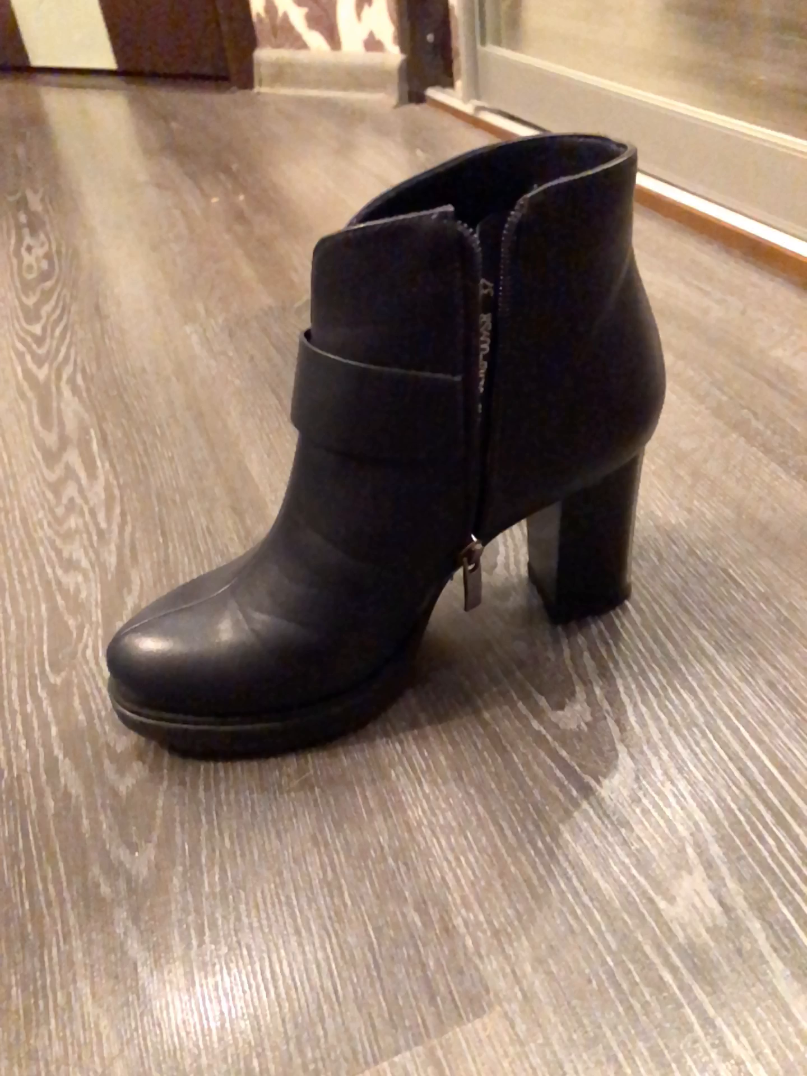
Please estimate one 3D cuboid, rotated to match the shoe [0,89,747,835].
[{"bbox_3d":[-0.017,-0.030,0.324,0.240,0.189,0.091,-18,39,-13],"label":"shoe"}]
